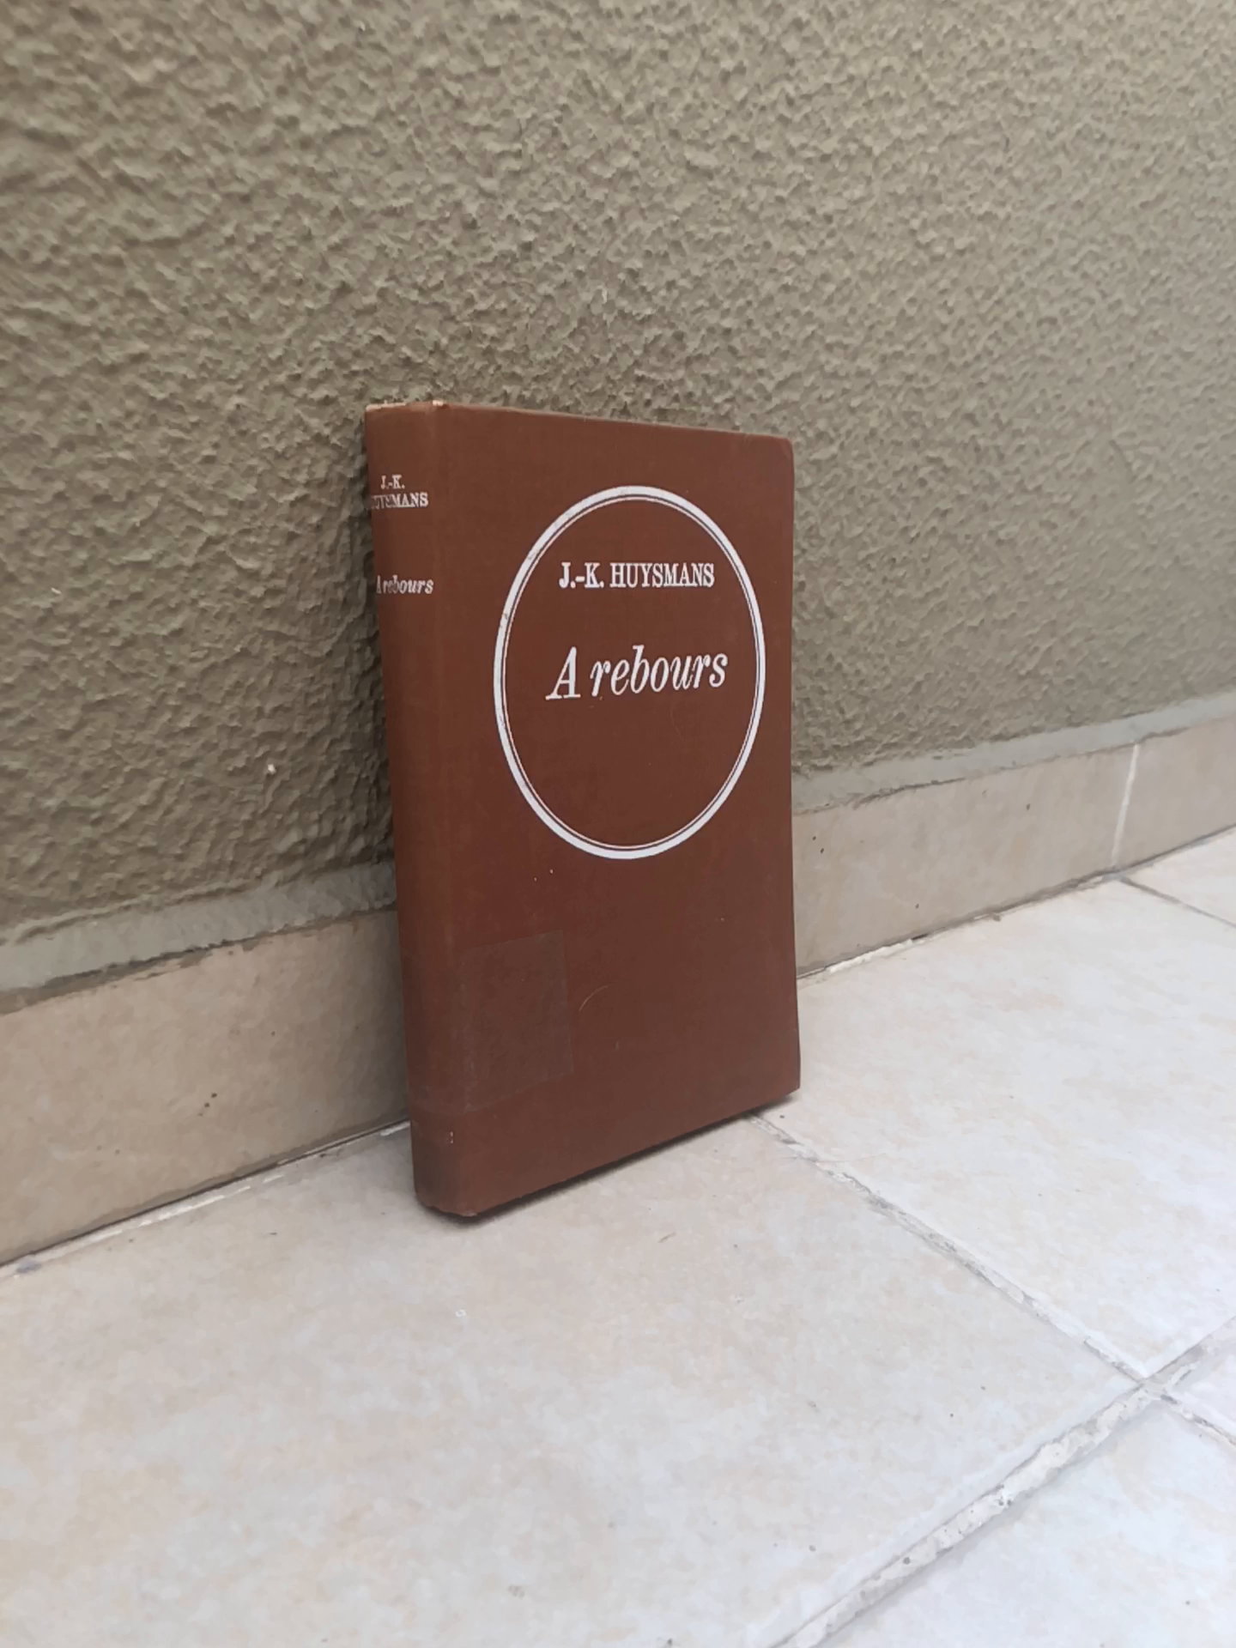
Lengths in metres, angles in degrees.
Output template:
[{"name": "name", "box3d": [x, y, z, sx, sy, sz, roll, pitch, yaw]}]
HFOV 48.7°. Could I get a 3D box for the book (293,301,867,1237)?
[{"name": "book", "box3d": [0.000, -0.020, 0.367, 0.150, 0.209, 0.040, -10, 11, -40]}]
